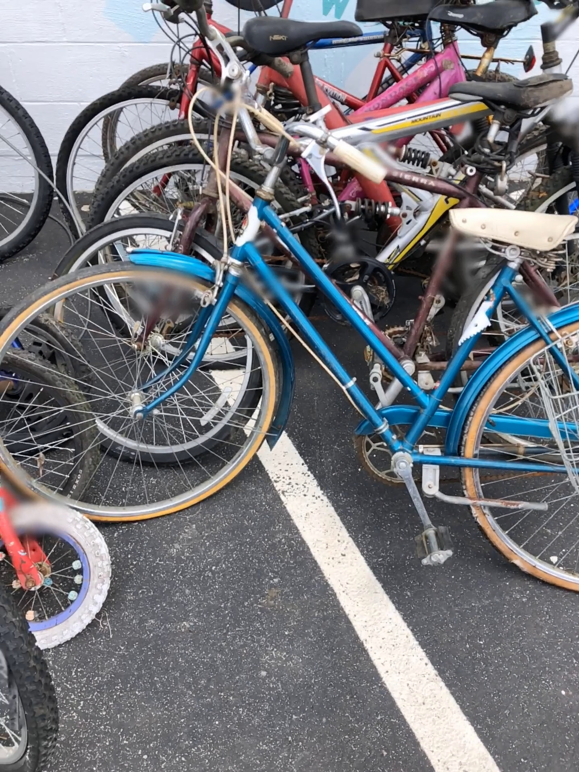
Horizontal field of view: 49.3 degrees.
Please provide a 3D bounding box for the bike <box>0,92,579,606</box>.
[{"bbox_3d":[0.181,-0.058,1.223,1.480,0.760,0.478,4,40,3],"label":"bike"}]
